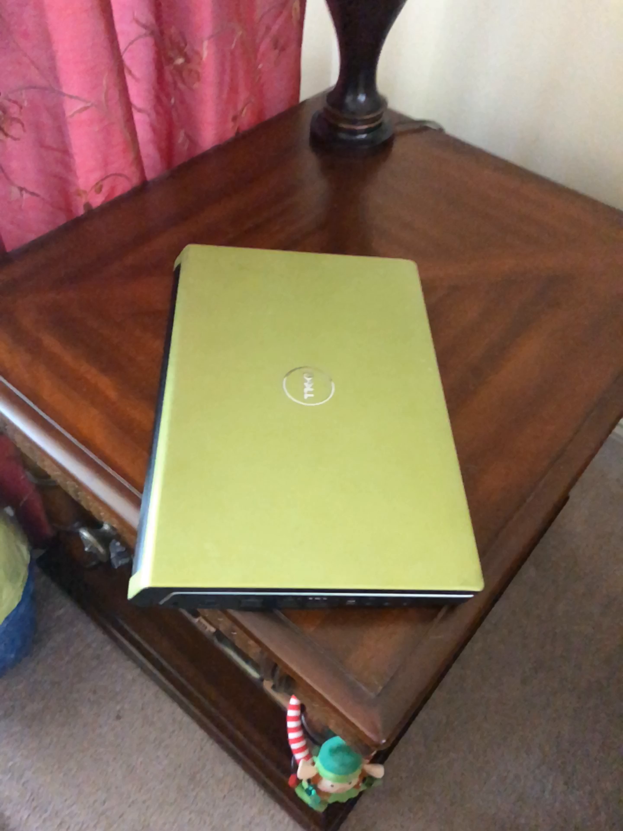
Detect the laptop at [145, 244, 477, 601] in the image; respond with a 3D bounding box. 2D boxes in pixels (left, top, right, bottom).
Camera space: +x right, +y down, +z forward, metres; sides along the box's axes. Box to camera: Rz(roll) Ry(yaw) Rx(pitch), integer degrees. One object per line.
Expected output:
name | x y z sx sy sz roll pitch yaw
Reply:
laptop | -0.004 -0.019 0.610 0.236 0.020 0.379 3 50 -7
